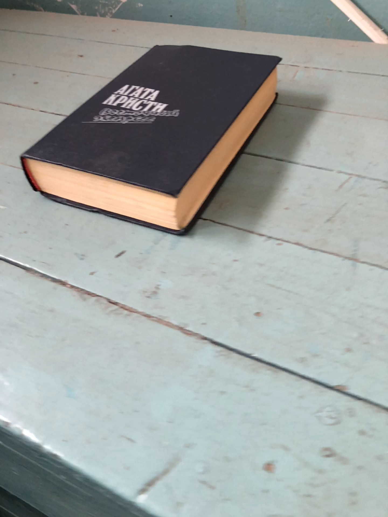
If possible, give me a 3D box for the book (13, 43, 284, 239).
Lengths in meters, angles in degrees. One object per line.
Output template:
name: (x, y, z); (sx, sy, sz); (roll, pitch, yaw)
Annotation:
book: (-0.023, -0.117, 0.367); (0.138, 0.040, 0.211); (16, 51, 21)
